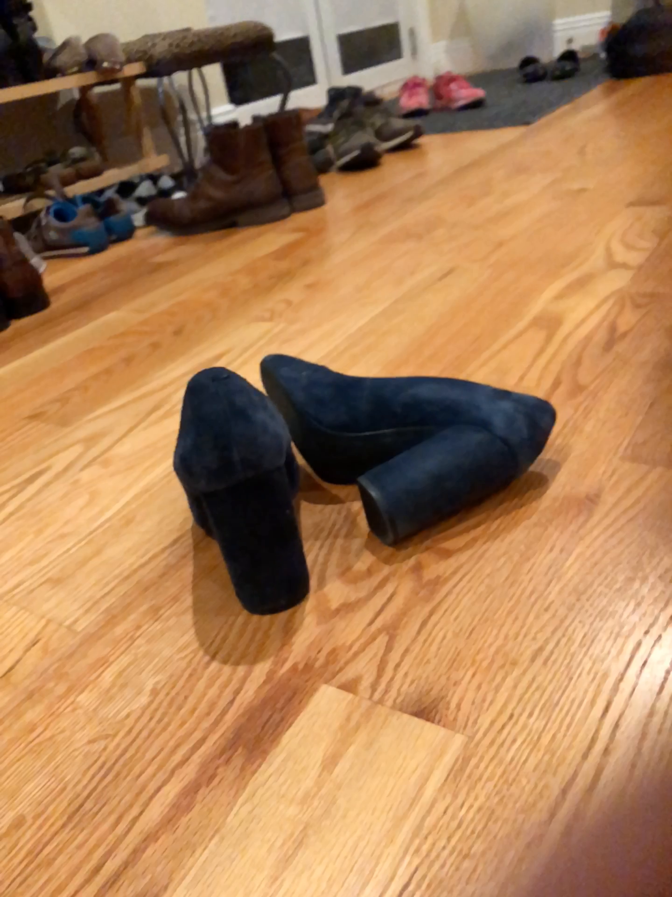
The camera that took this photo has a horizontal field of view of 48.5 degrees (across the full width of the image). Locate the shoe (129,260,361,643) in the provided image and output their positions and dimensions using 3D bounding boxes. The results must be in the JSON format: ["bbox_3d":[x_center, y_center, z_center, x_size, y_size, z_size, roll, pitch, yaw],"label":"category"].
[{"bbox_3d":[-0.067,-0.016,0.480,0.080,0.146,0.227,-17,29,-9],"label":"shoe"}]

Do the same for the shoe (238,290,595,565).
[{"bbox_3d":[0.048,-0.032,0.524,0.152,0.080,0.205,-24,31,-20],"label":"shoe"}]
